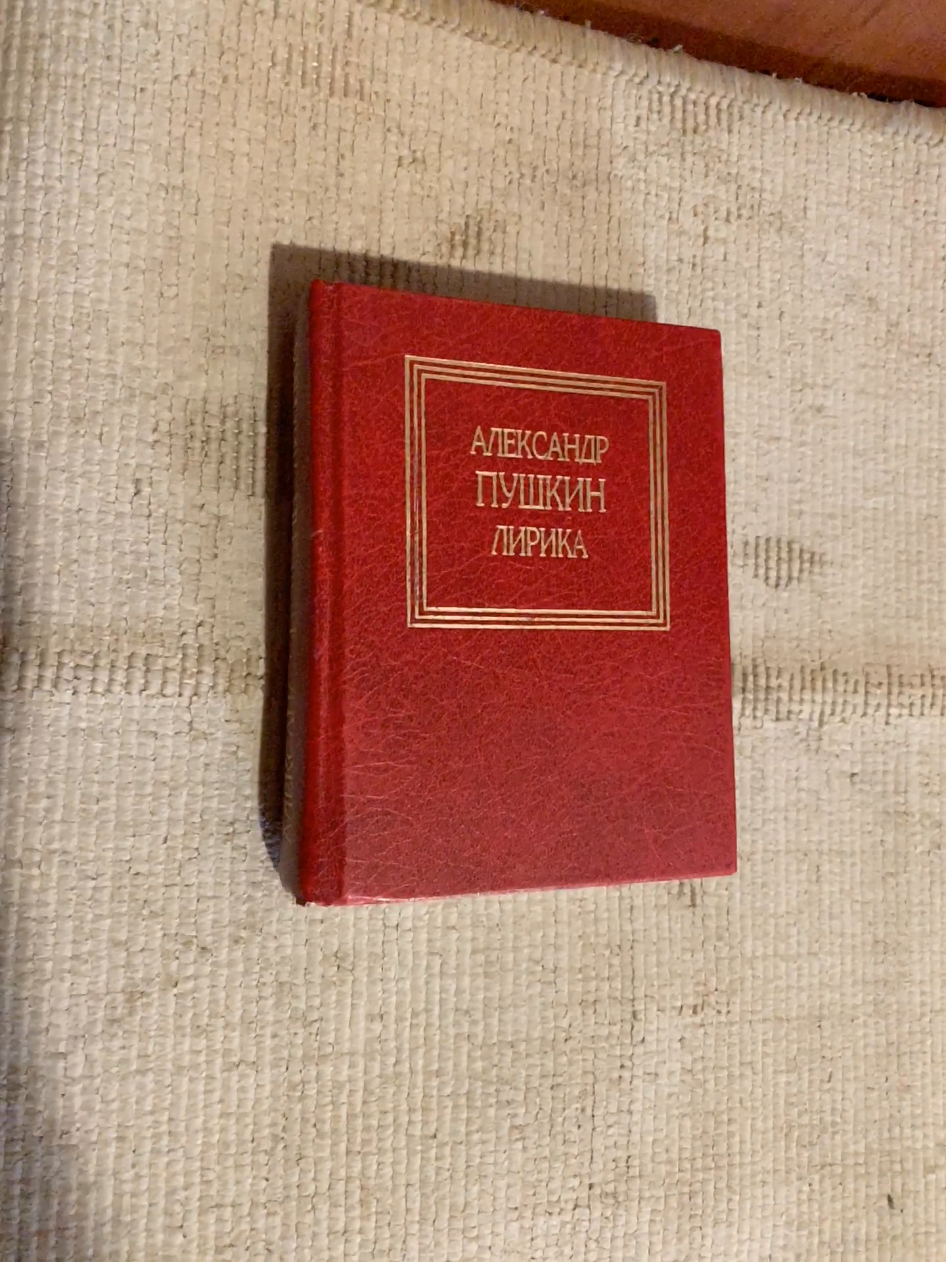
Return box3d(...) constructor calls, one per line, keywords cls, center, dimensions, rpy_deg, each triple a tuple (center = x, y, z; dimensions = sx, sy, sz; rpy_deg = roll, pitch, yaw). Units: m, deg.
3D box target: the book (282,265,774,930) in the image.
box3d(cls="book", center=(0.015, -0.006, 0.252), dimensions=(0.119, 0.034, 0.148), rpy_deg=(2, 85, -18))
